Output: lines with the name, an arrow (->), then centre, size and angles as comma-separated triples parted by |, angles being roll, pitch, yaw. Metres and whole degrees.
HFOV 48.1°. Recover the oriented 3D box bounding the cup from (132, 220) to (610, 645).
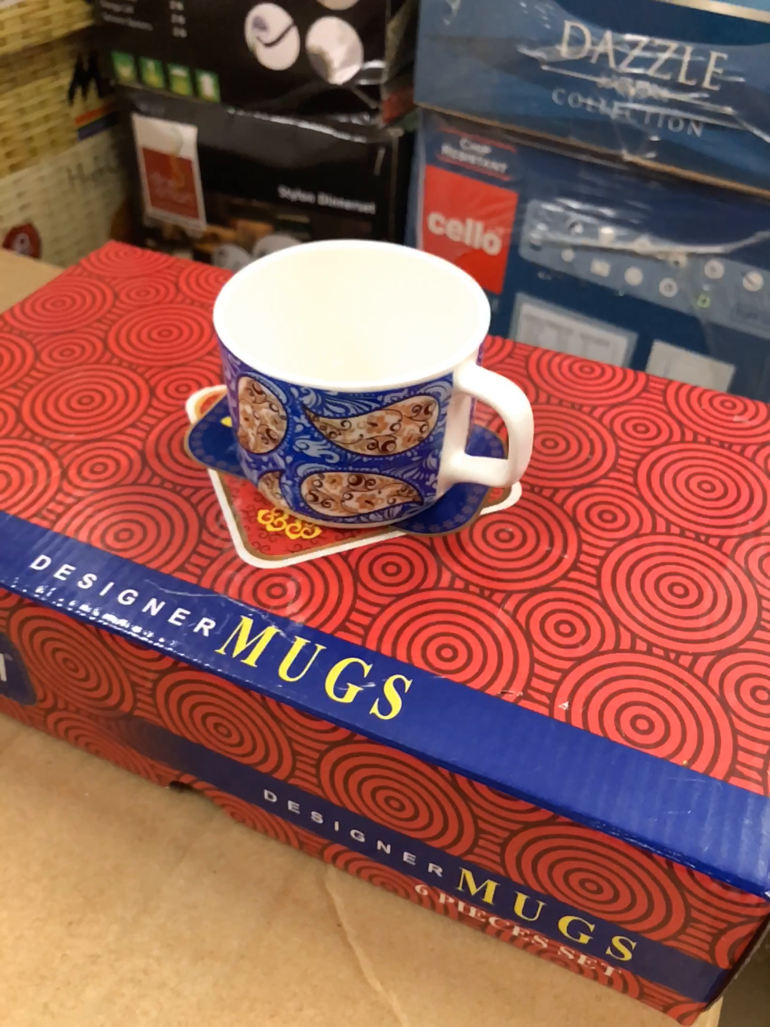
cup -> -0.004, -0.028, 0.240 | 0.100, 0.060, 0.070 | 25, 46, 21
